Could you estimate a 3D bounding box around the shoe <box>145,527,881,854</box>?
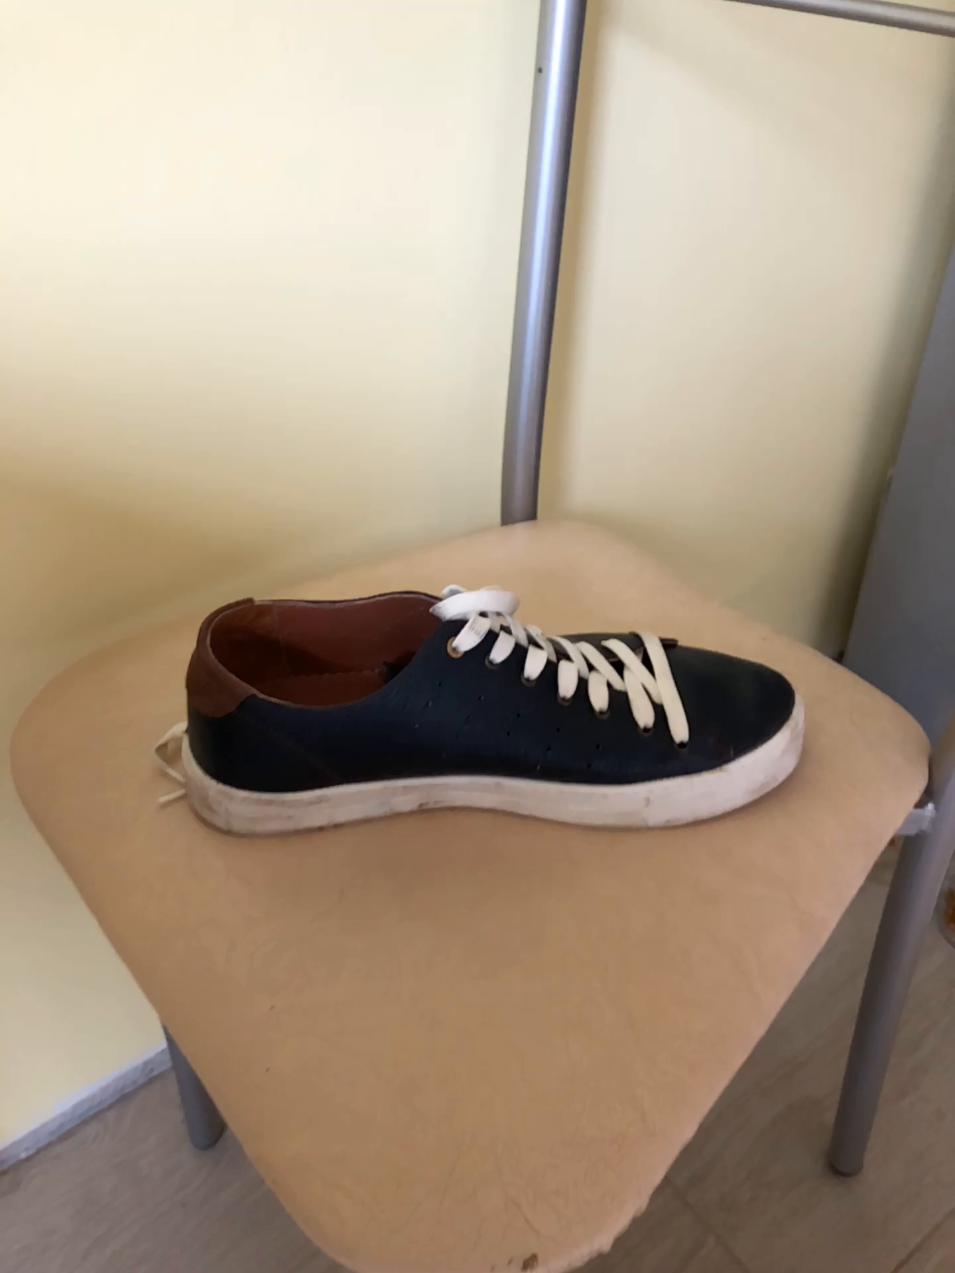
[{"bbox_3d":[0.014,0.022,0.483,0.290,0.089,0.111,-2,39,-2],"label":"shoe"}]
